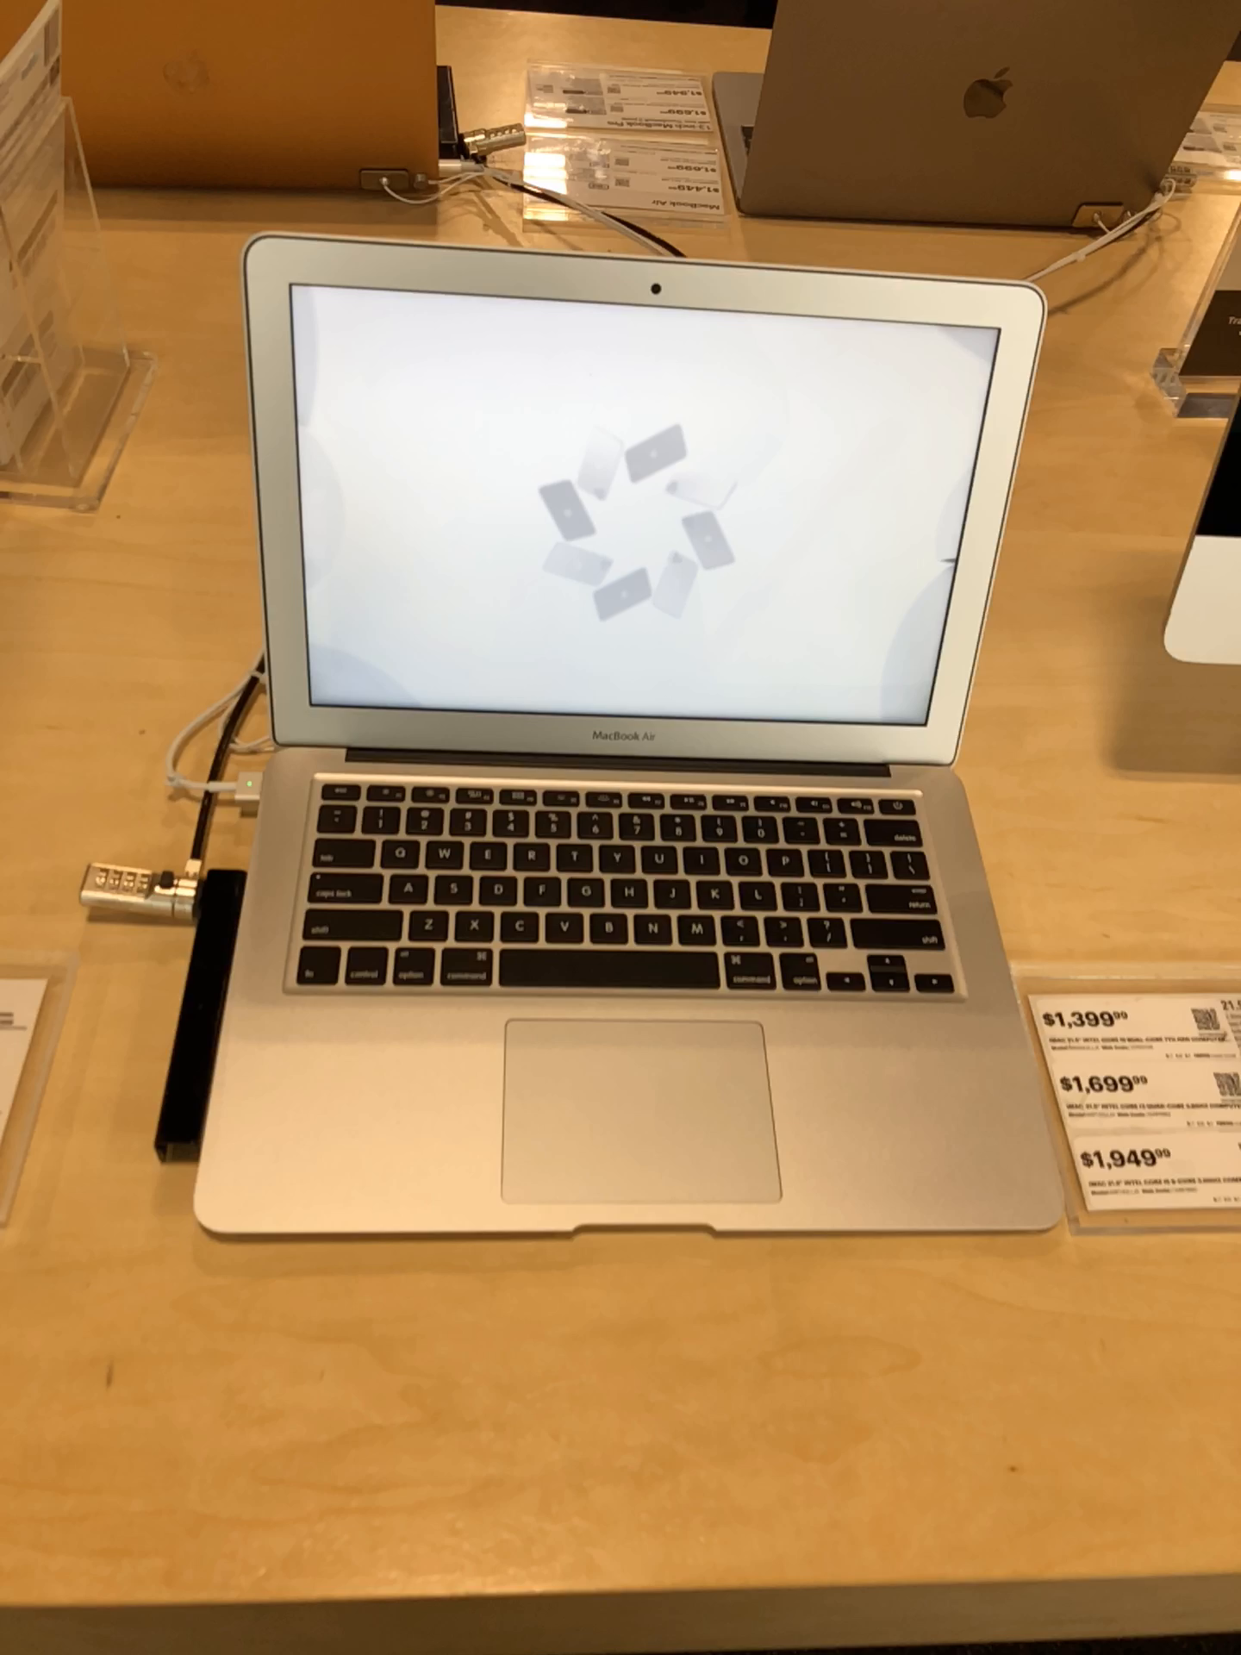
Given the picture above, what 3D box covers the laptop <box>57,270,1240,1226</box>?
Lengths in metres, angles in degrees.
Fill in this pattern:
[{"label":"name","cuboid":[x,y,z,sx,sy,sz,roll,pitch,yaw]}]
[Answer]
[{"label":"laptop","cuboid":[0.008,-0.036,0.529,0.323,0.202,0.311,1,51,-3]}]
